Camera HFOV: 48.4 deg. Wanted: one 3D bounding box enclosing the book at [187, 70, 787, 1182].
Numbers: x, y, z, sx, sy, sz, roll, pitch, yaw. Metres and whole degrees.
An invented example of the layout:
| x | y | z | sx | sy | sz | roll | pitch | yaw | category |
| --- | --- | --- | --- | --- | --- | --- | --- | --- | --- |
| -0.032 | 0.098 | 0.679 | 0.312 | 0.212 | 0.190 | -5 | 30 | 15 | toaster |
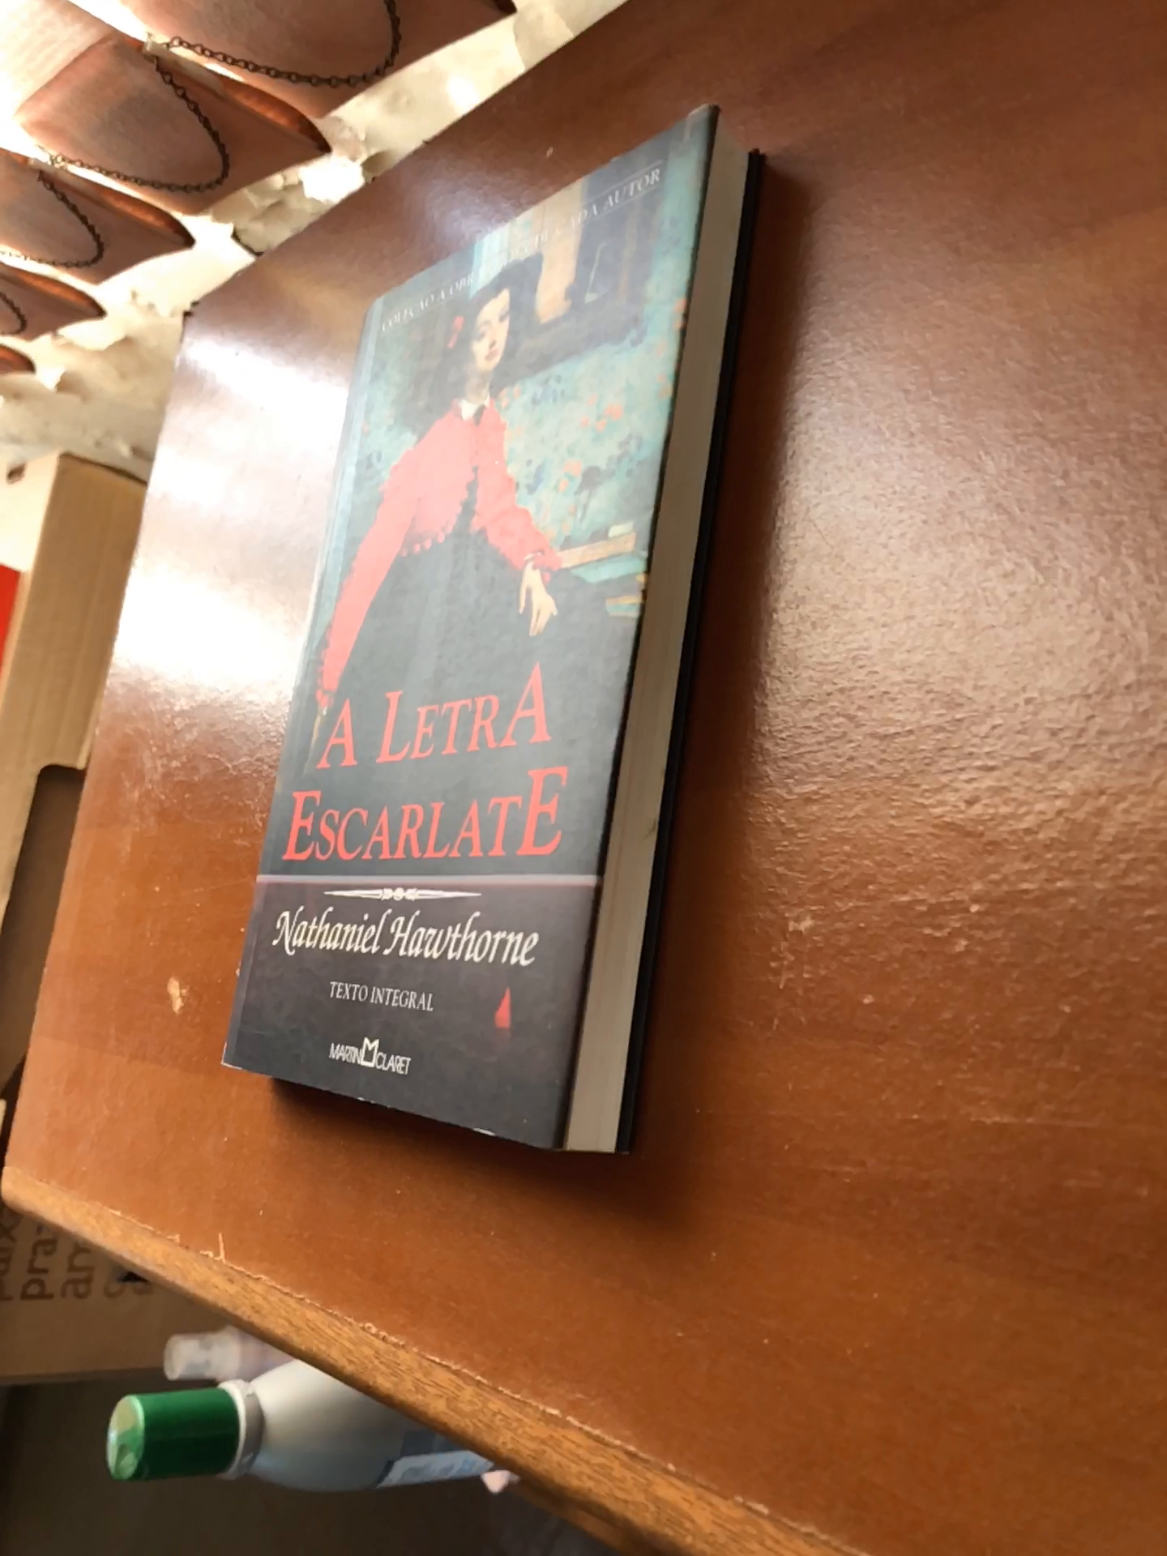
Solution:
| x | y | z | sx | sy | sz | roll | pitch | yaw | category |
| --- | --- | --- | --- | --- | --- | --- | --- | --- | --- |
| -0.022 | -0.025 | 0.231 | 0.112 | 0.015 | 0.166 | -4 | 72 | 50 | book |
